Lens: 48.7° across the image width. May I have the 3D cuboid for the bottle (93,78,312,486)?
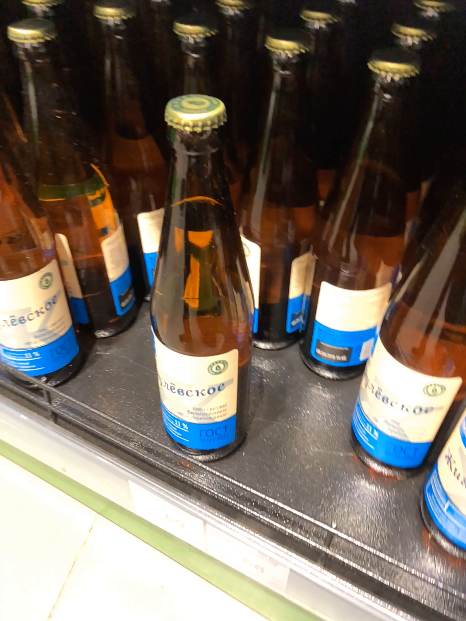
[{"bbox_3d":[-0.015,0.003,0.319,0.070,0.249,0.070,0,44,0],"label":"bottle"}]
